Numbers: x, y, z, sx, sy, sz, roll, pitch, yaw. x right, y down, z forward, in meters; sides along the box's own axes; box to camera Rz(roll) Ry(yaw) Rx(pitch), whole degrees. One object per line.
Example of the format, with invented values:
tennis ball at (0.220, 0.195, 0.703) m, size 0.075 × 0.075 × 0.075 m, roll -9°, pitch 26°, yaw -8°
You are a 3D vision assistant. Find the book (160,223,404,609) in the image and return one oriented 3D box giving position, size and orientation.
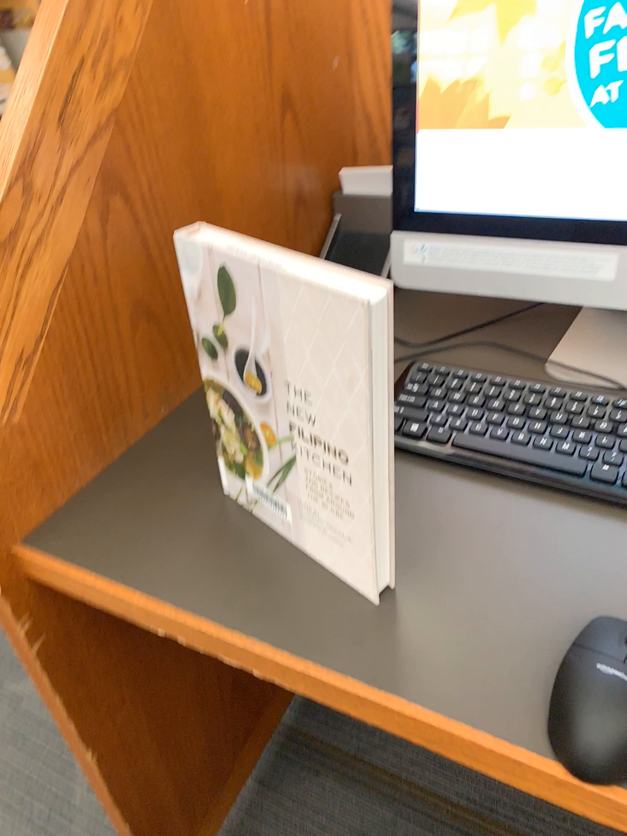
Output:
book at (-0.021, -0.004, 0.455) m, size 0.030 × 0.229 × 0.193 m, roll -30°, pitch 40°, yaw -32°
